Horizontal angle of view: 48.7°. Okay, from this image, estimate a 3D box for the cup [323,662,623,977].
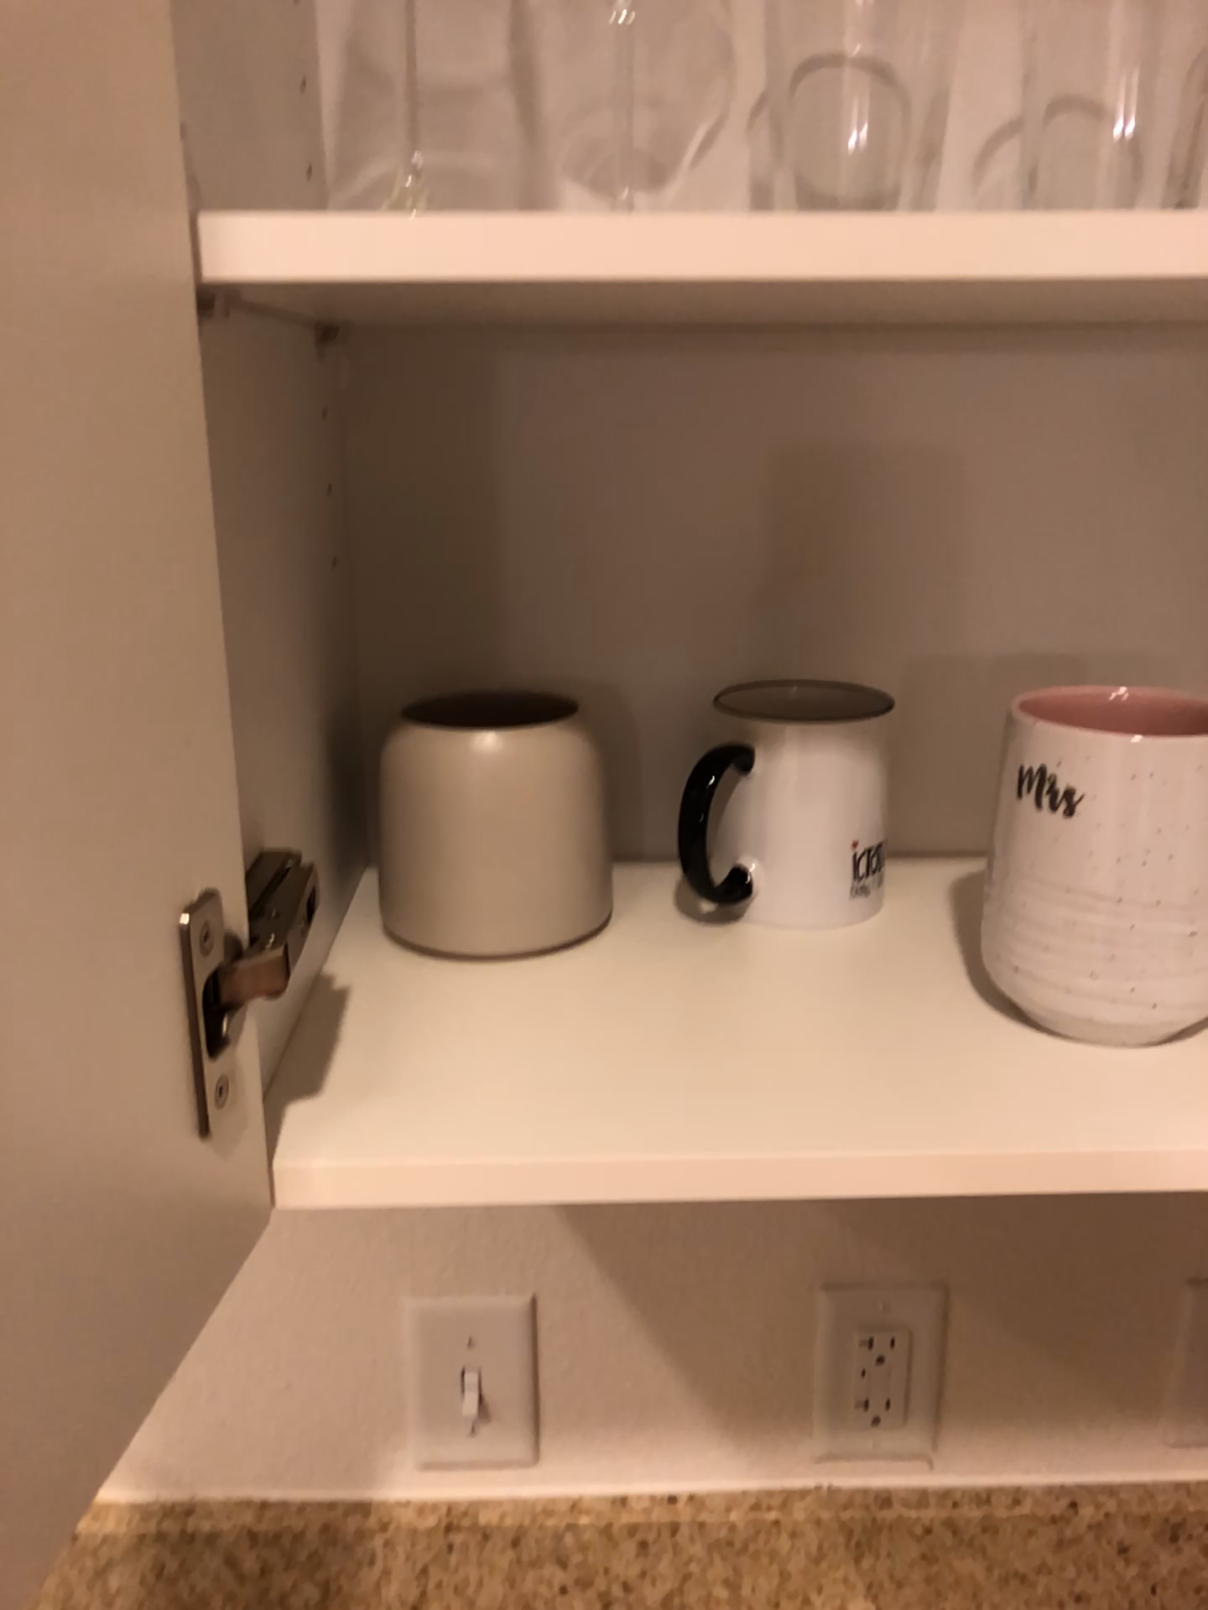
[{"bbox_3d":[-0.058,-0.002,0.576,0.110,0.090,0.151,-3,17,-8],"label":"cup"}]

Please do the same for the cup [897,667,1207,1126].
[{"bbox_3d":[0.187,0.021,0.457,0.140,0.110,0.090,11,20,33],"label":"cup"}]

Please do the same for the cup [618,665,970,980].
[{"bbox_3d":[0.077,0.001,0.546,0.110,0.090,0.090,-15,22,-40],"label":"cup"}]
